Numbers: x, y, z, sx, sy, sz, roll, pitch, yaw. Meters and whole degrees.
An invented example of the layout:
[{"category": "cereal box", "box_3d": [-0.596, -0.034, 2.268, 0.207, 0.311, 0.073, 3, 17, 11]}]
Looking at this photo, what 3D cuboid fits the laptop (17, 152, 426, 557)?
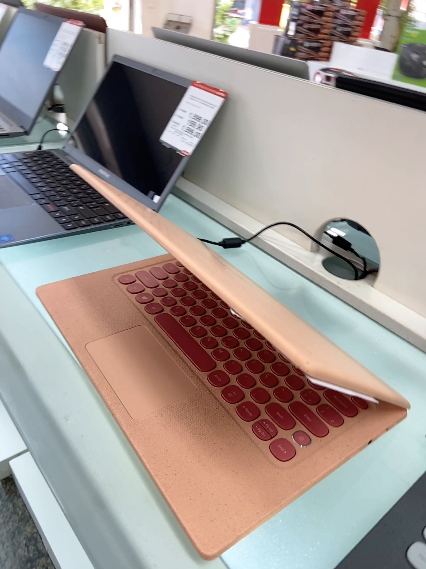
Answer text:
[{"category": "laptop", "box_3d": [-0.009, 0.004, 0.391, 0.211, 0.129, 0.324, -17, 40, -33]}]
